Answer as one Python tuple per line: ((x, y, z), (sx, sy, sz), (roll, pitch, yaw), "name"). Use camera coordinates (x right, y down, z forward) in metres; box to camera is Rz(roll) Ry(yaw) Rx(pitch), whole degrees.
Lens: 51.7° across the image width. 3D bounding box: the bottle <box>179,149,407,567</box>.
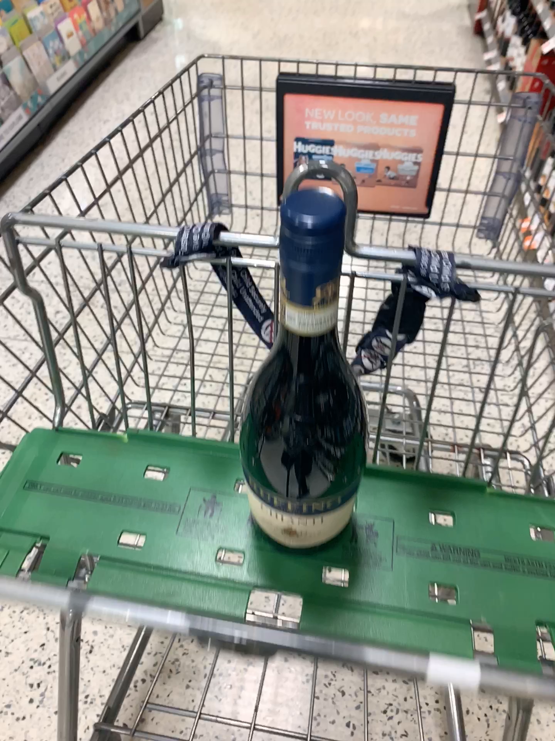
((0.013, 0.015, 0.358), (0.090, 0.268, 0.091), (0, 48, 1), "bottle")
